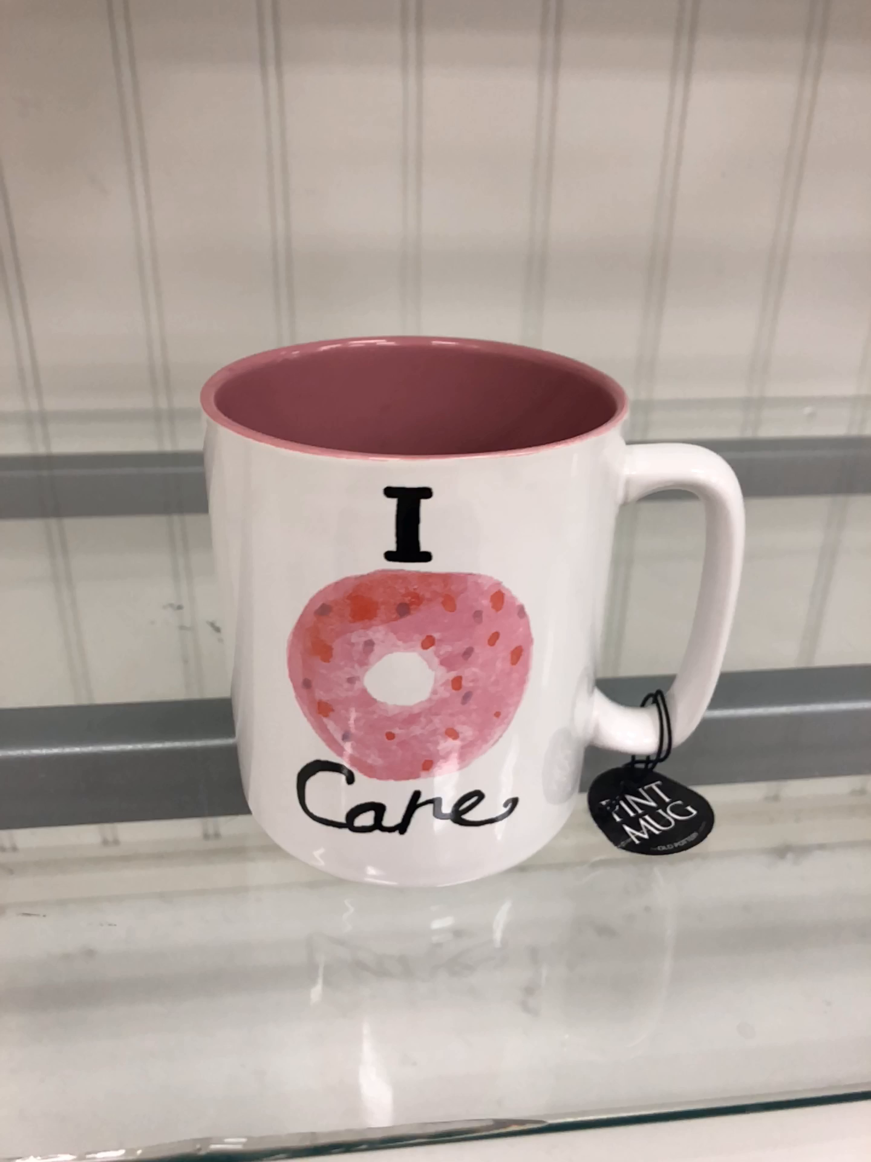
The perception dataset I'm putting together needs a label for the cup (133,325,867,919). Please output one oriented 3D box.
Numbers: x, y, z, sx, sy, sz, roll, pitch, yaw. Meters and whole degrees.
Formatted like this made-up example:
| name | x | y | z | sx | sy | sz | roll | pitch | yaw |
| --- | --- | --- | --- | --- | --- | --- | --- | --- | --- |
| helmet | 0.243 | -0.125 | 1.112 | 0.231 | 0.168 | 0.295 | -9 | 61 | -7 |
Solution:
| name | x | y | z | sx | sy | sz | roll | pitch | yaw |
| --- | --- | --- | --- | --- | --- | --- | --- | --- | --- |
| cup | 0.013 | 0.004 | 0.252 | 0.137 | 0.112 | 0.101 | 2 | 27 | 2 |
